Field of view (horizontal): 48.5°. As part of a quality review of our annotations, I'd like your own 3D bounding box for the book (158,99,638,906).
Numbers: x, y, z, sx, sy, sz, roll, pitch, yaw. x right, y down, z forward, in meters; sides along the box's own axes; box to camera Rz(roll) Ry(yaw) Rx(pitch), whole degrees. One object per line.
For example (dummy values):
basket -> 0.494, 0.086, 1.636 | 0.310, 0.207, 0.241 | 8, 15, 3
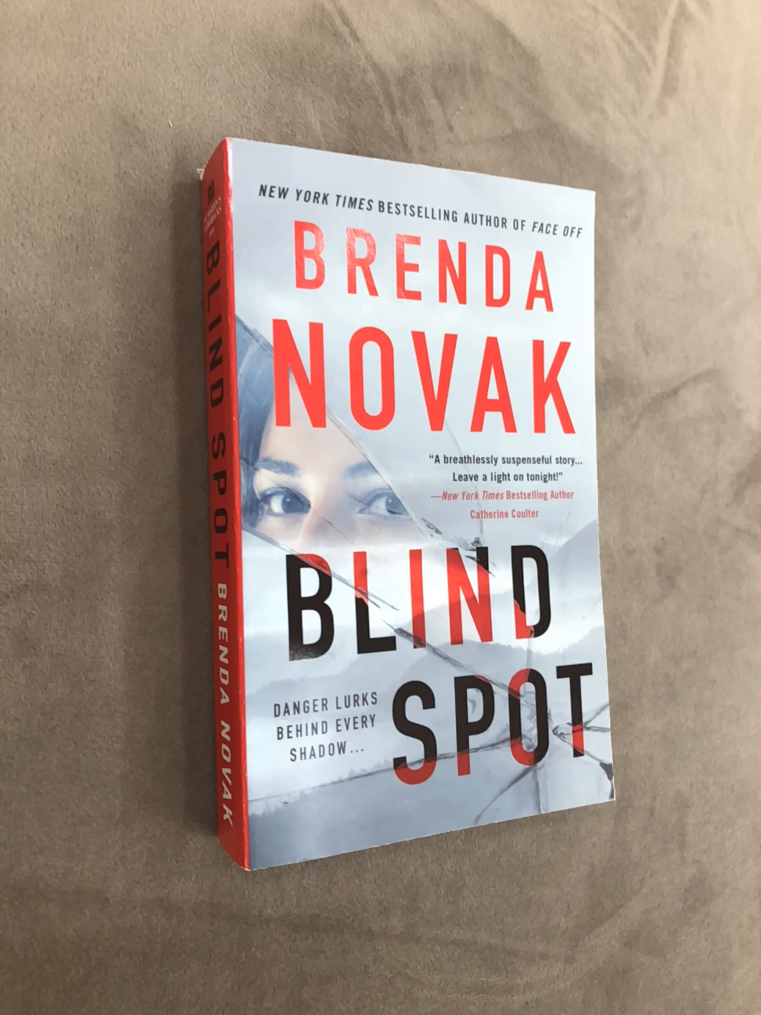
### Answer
book -> 0.003, -0.003, 0.243 | 0.120, 0.050, 0.190 | -2, 88, -20
